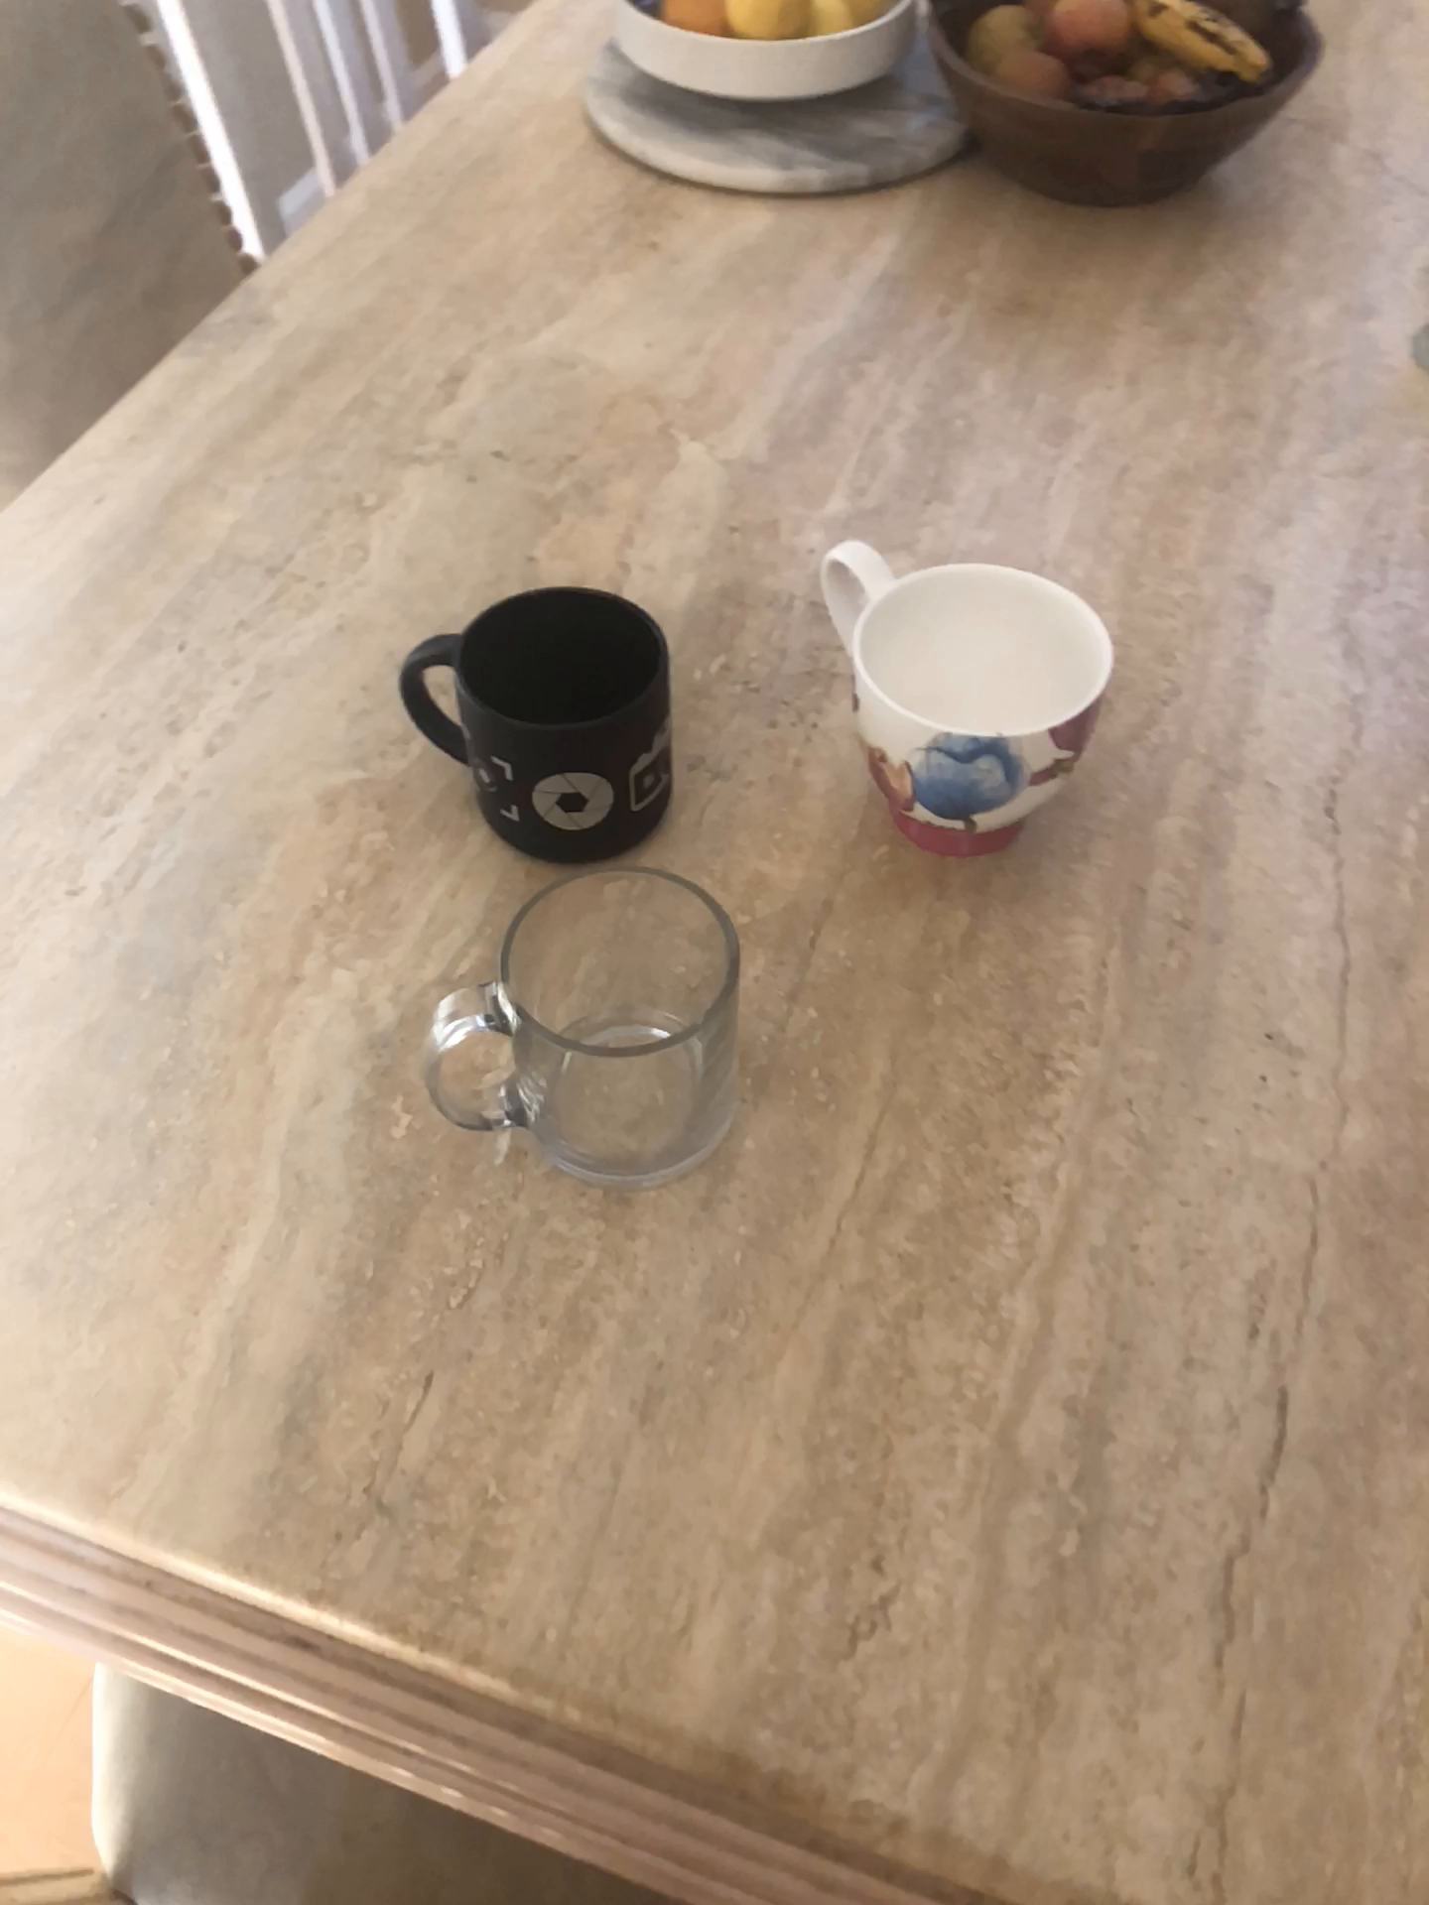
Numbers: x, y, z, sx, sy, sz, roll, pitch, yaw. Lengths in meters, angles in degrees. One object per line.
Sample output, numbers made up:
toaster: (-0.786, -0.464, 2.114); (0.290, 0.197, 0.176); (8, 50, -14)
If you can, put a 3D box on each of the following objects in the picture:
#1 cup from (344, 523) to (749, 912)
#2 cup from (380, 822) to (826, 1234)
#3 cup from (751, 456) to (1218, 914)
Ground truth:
cup: (-0.070, -0.107, 0.703); (0.140, 0.089, 0.101); (24, 55, 18)
cup: (-0.041, 0.027, 0.585); (0.140, 0.089, 0.091); (-12, 52, -9)
cup: (0.111, -0.123, 0.697); (0.120, 0.089, 0.161); (-27, 56, -20)
